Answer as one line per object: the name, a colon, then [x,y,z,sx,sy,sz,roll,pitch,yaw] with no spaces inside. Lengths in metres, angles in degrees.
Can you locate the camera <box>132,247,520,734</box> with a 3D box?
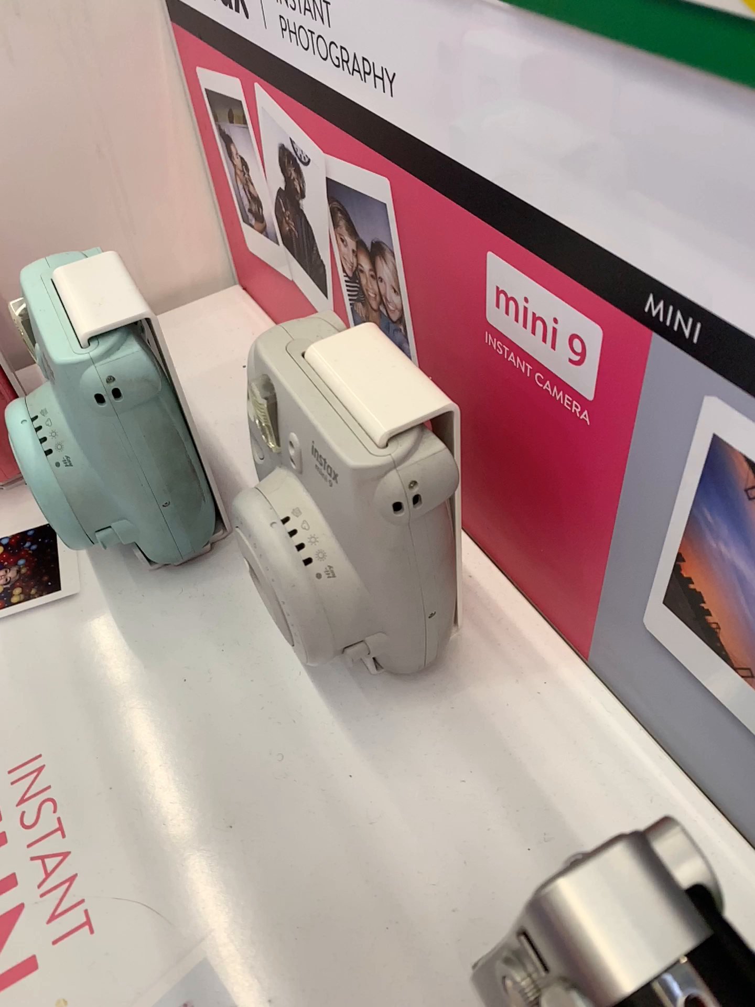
camera: [-0.017,-0.006,0.279,0.080,0.109,0.111,-25,49,-15]
